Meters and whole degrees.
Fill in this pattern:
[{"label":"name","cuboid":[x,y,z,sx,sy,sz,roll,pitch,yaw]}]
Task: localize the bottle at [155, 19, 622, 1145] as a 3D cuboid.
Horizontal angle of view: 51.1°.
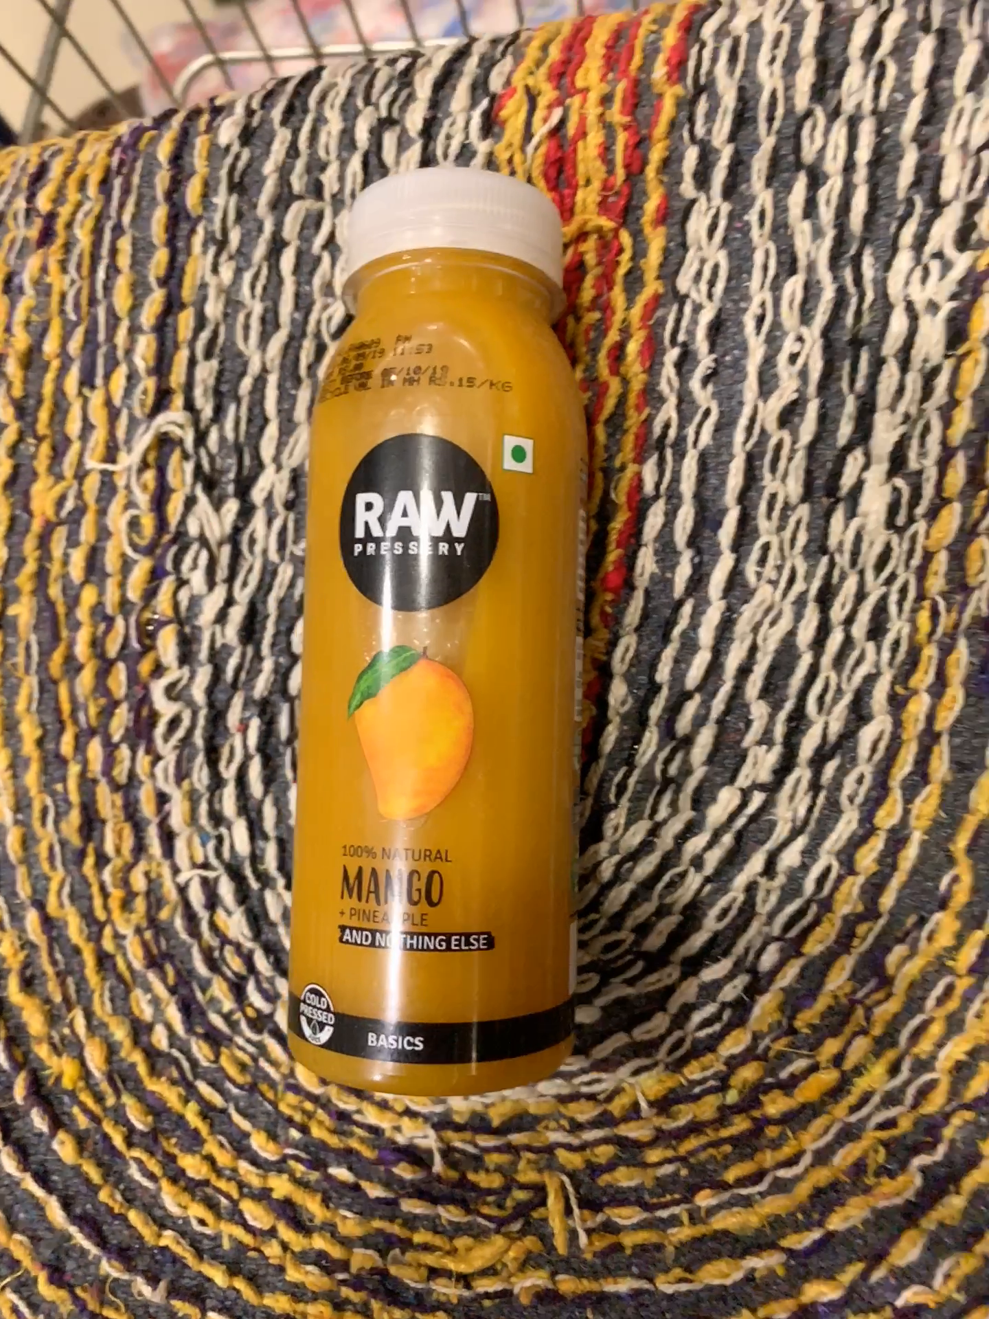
[{"label":"bottle","cuboid":[-0.013,-0.014,0.185,0.060,0.050,0.170,2,84,12]}]
